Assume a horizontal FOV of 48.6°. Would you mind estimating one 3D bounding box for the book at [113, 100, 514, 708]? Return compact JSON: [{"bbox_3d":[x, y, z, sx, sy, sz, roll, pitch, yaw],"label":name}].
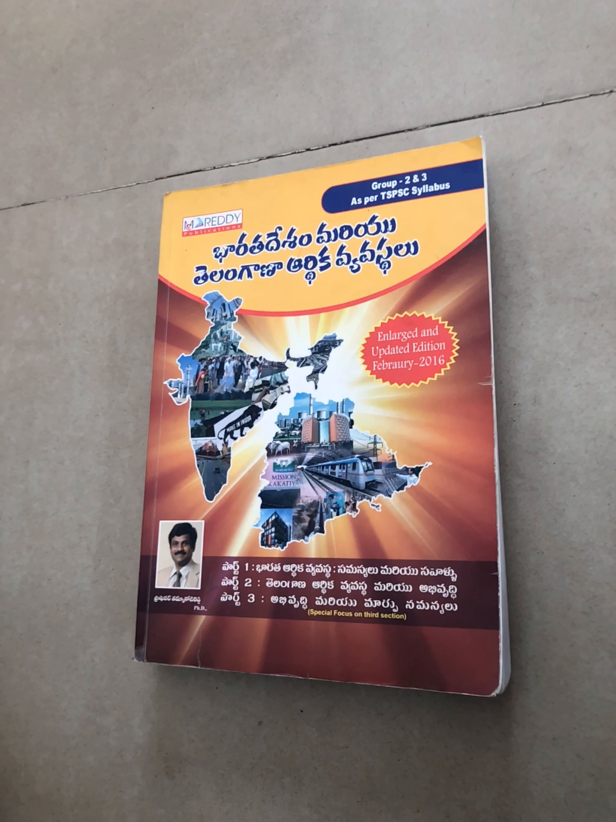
[{"bbox_3d":[-0.001,-0.008,0.352,0.190,0.030,0.280,-4,77,20],"label":"book"}]
